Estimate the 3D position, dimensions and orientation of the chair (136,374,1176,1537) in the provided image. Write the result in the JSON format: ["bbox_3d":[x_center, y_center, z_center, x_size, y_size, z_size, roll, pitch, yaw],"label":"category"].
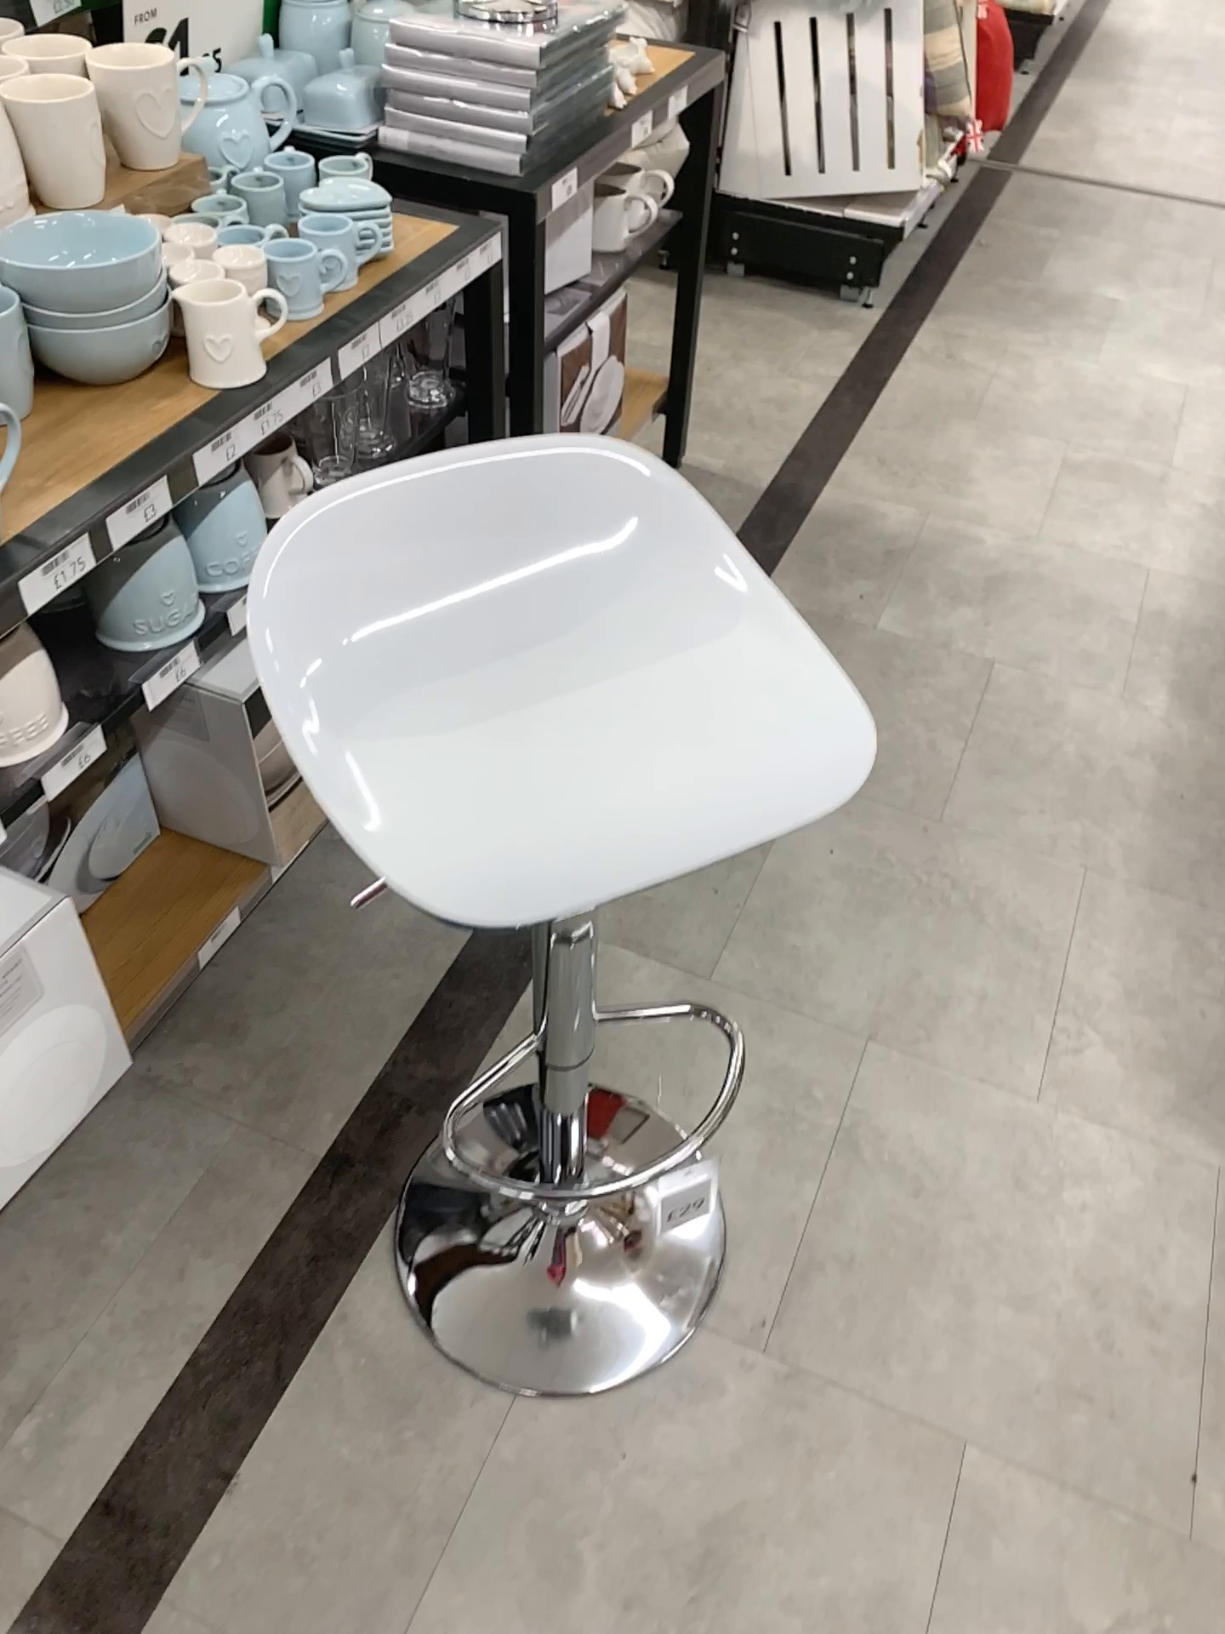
[{"bbox_3d":[-0.009,0.135,1.079,0.503,0.775,0.472,-21,50,-23],"label":"chair"}]
